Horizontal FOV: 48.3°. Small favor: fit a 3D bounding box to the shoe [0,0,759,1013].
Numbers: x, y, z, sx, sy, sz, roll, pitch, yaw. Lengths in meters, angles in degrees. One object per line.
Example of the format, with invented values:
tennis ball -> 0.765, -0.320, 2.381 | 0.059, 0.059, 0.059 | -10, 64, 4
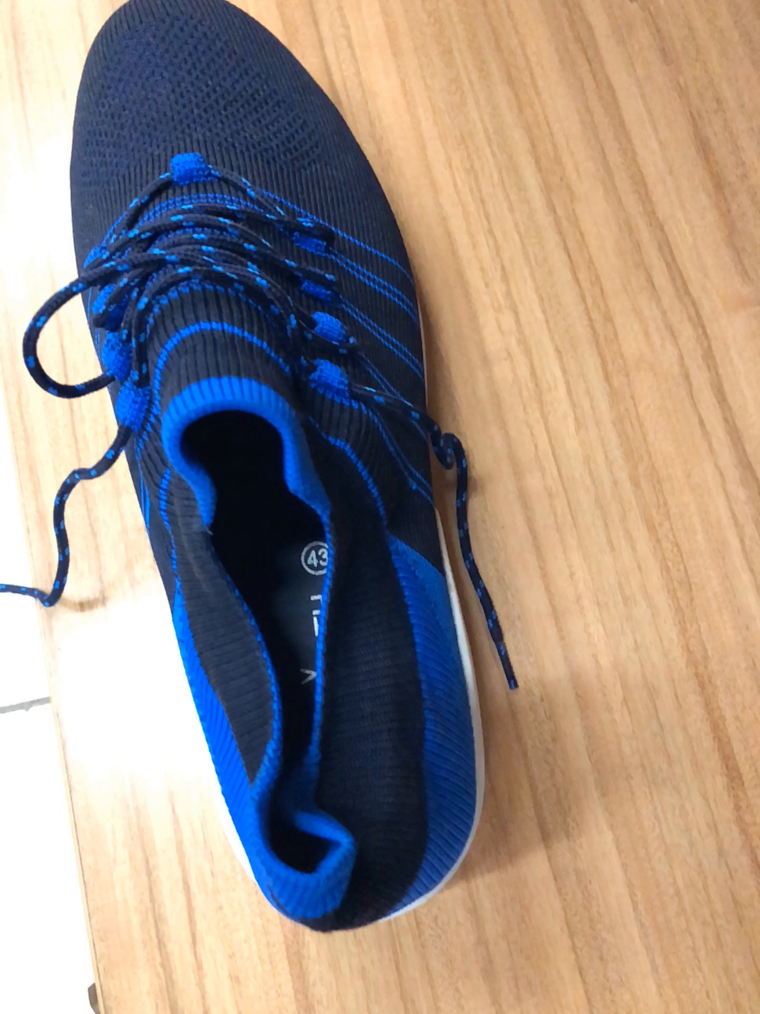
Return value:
shoe -> -0.034, -0.022, 0.196 | 0.110, 0.110, 0.260 | -16, 77, -2
